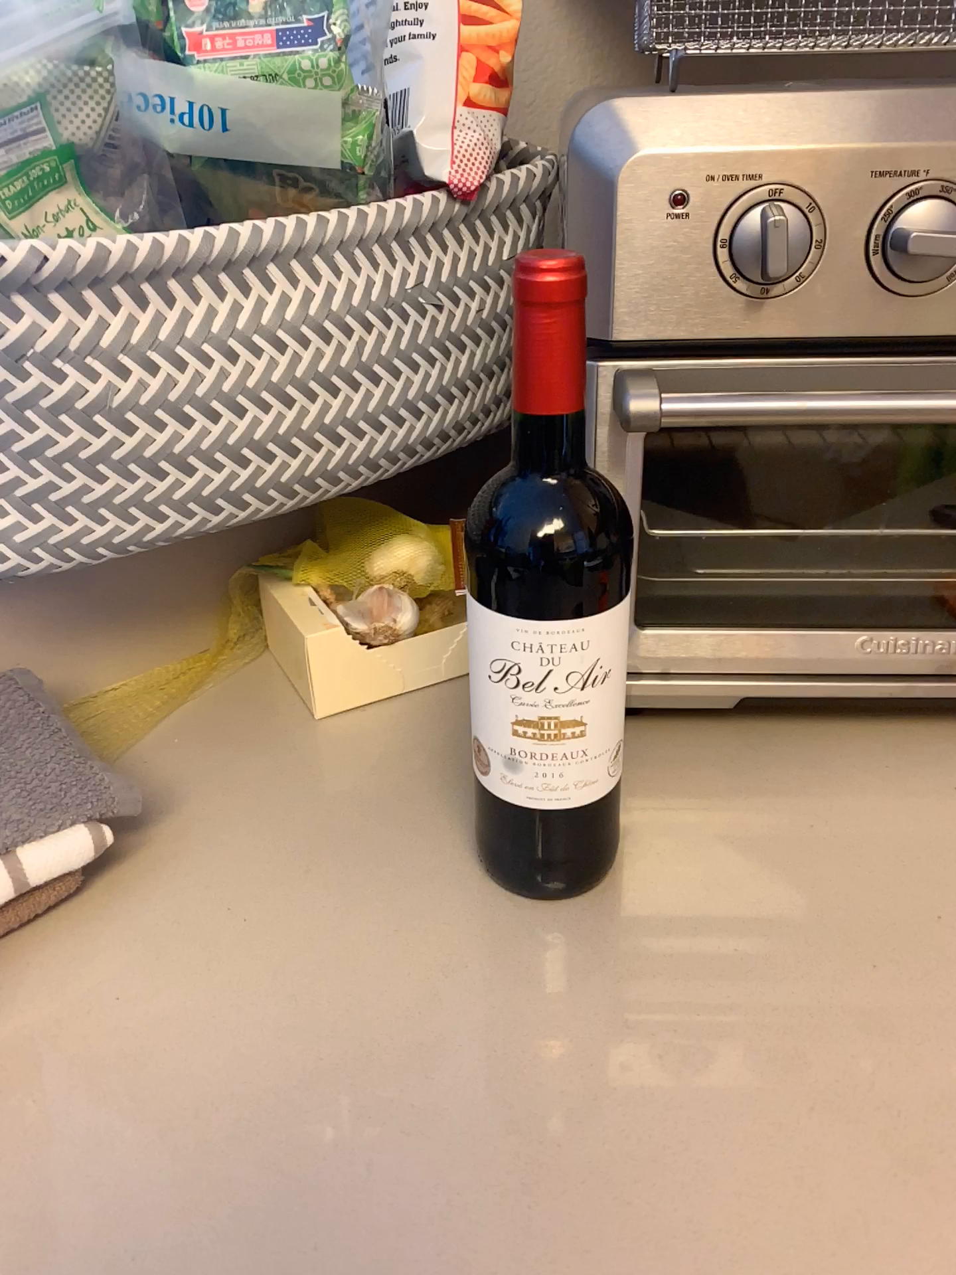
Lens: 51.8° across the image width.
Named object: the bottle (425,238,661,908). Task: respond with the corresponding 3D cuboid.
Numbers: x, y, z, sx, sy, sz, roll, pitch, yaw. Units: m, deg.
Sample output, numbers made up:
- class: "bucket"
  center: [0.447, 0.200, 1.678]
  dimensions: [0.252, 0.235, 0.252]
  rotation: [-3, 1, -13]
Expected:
- class: "bottle"
  center: [0.027, -0.017, 0.439]
  dimensions: [0.080, 0.288, 0.080]
  rotation: [-2, 29, 1]
